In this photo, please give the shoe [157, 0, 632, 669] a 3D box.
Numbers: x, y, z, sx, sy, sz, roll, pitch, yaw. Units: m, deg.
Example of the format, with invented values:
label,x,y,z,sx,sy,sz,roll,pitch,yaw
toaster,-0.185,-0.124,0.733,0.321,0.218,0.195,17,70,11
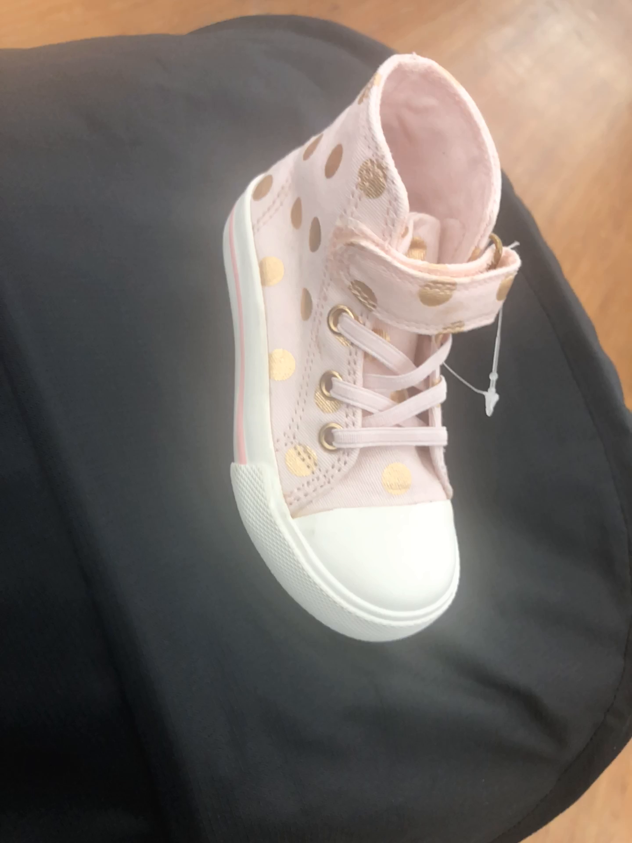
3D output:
label,x,y,z,sx,sy,sz,roll,pitch,yaw
shoe,0.020,-0.029,0.218,0.080,0.100,0.170,-2,64,-32
